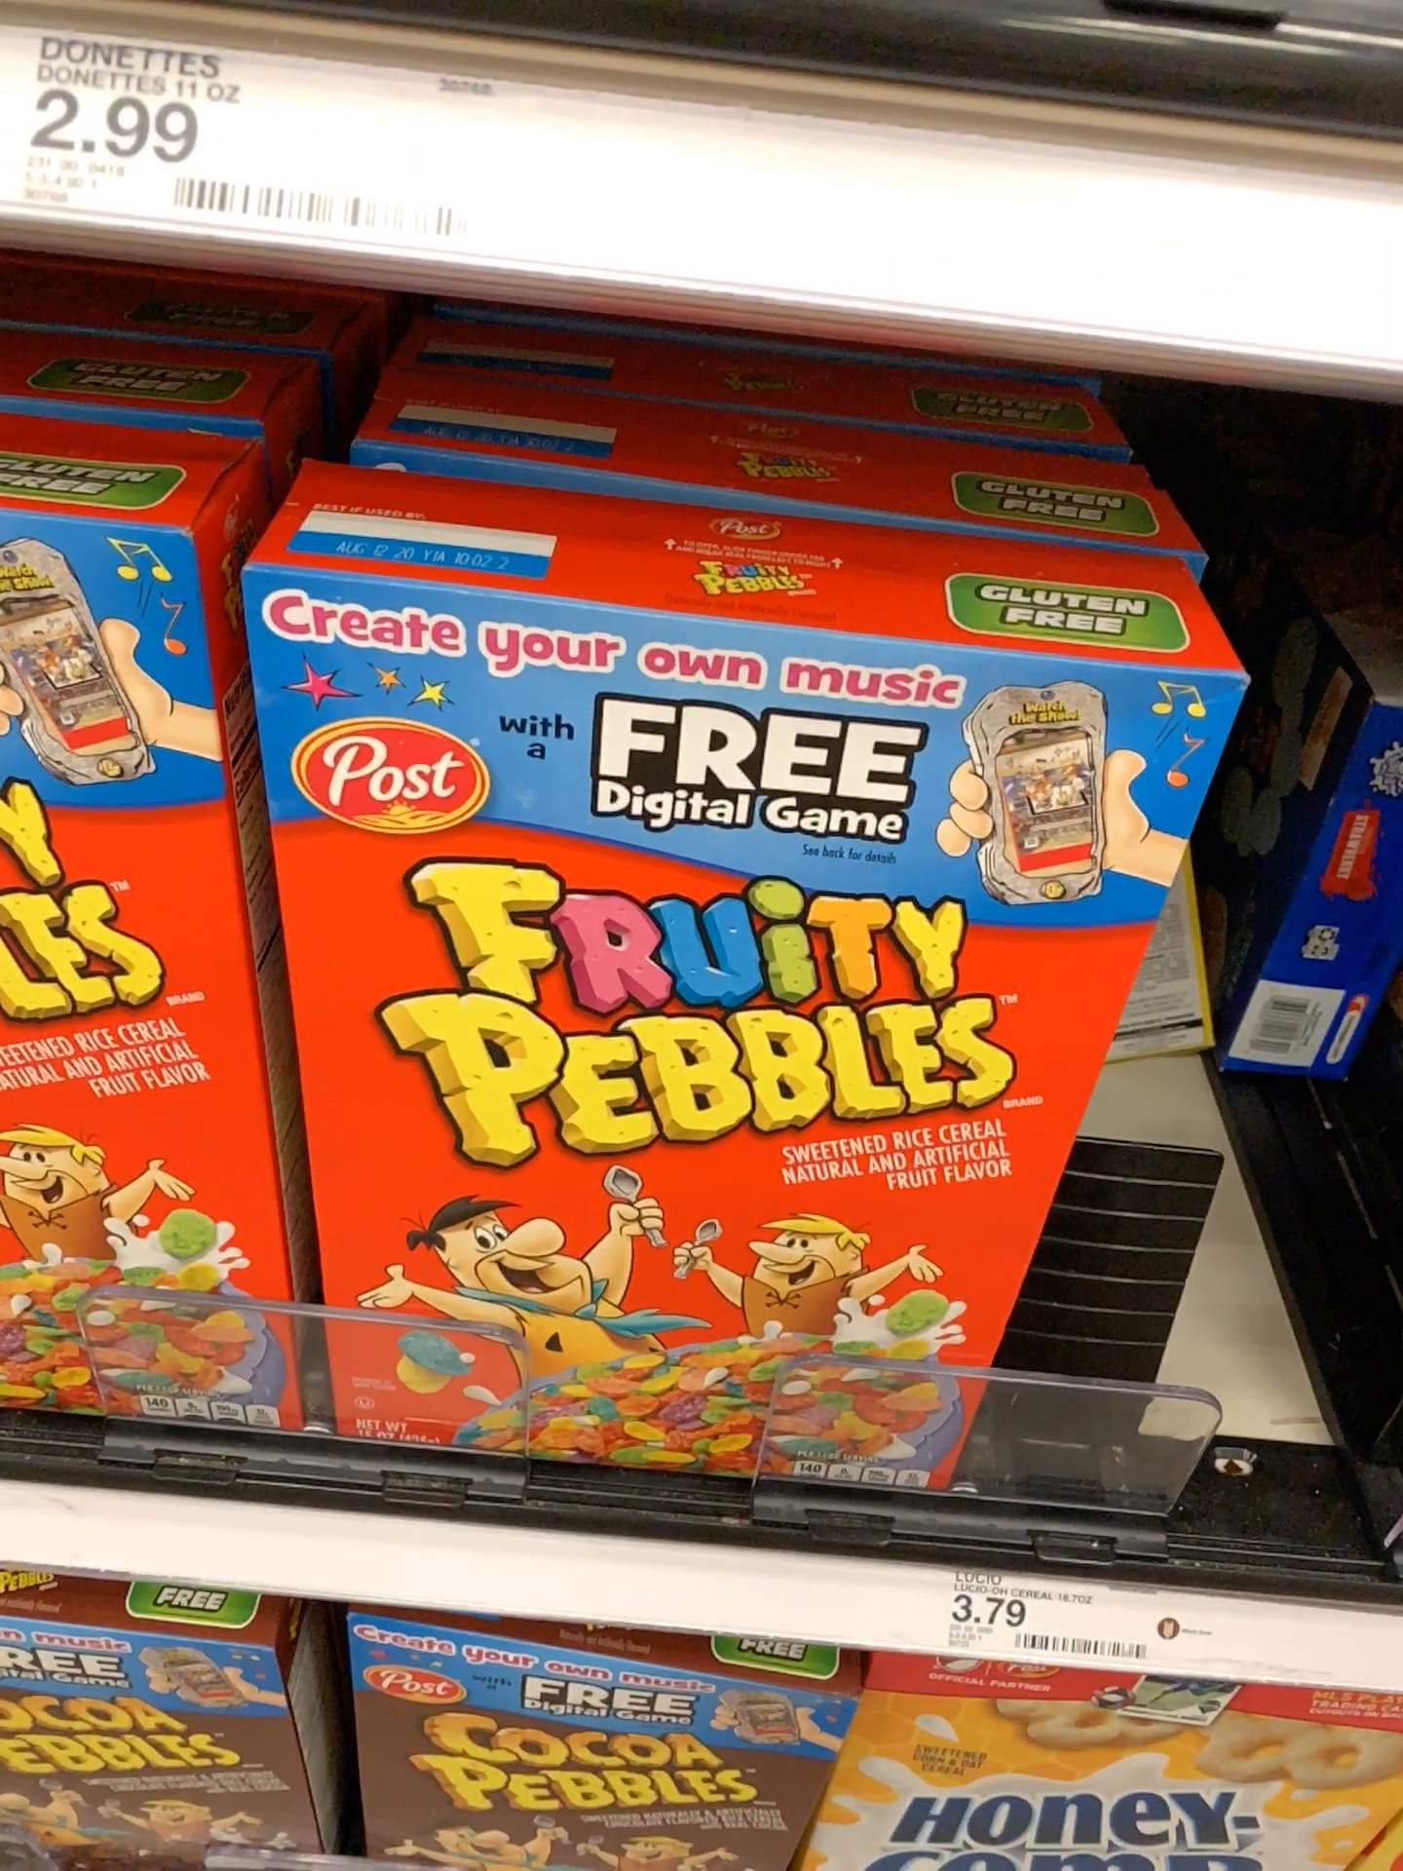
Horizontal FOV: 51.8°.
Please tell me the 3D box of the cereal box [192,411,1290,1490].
[{"bbox_3d":[-0.004,0.029,0.376,0.200,0.289,0.060,6,39,-1],"label":"cereal box"}]
